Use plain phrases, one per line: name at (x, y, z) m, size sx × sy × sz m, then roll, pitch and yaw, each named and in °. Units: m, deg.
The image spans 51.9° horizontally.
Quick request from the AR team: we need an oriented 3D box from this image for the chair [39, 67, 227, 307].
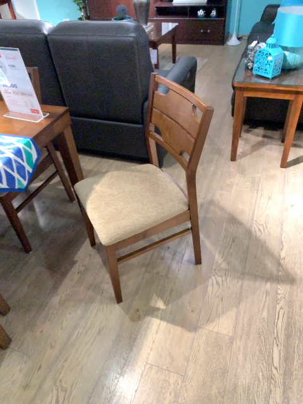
chair at (-0.065, -0.055, 1.384) m, size 0.530 × 0.826 × 0.472 m, roll -21°, pitch 43°, yaw -17°
